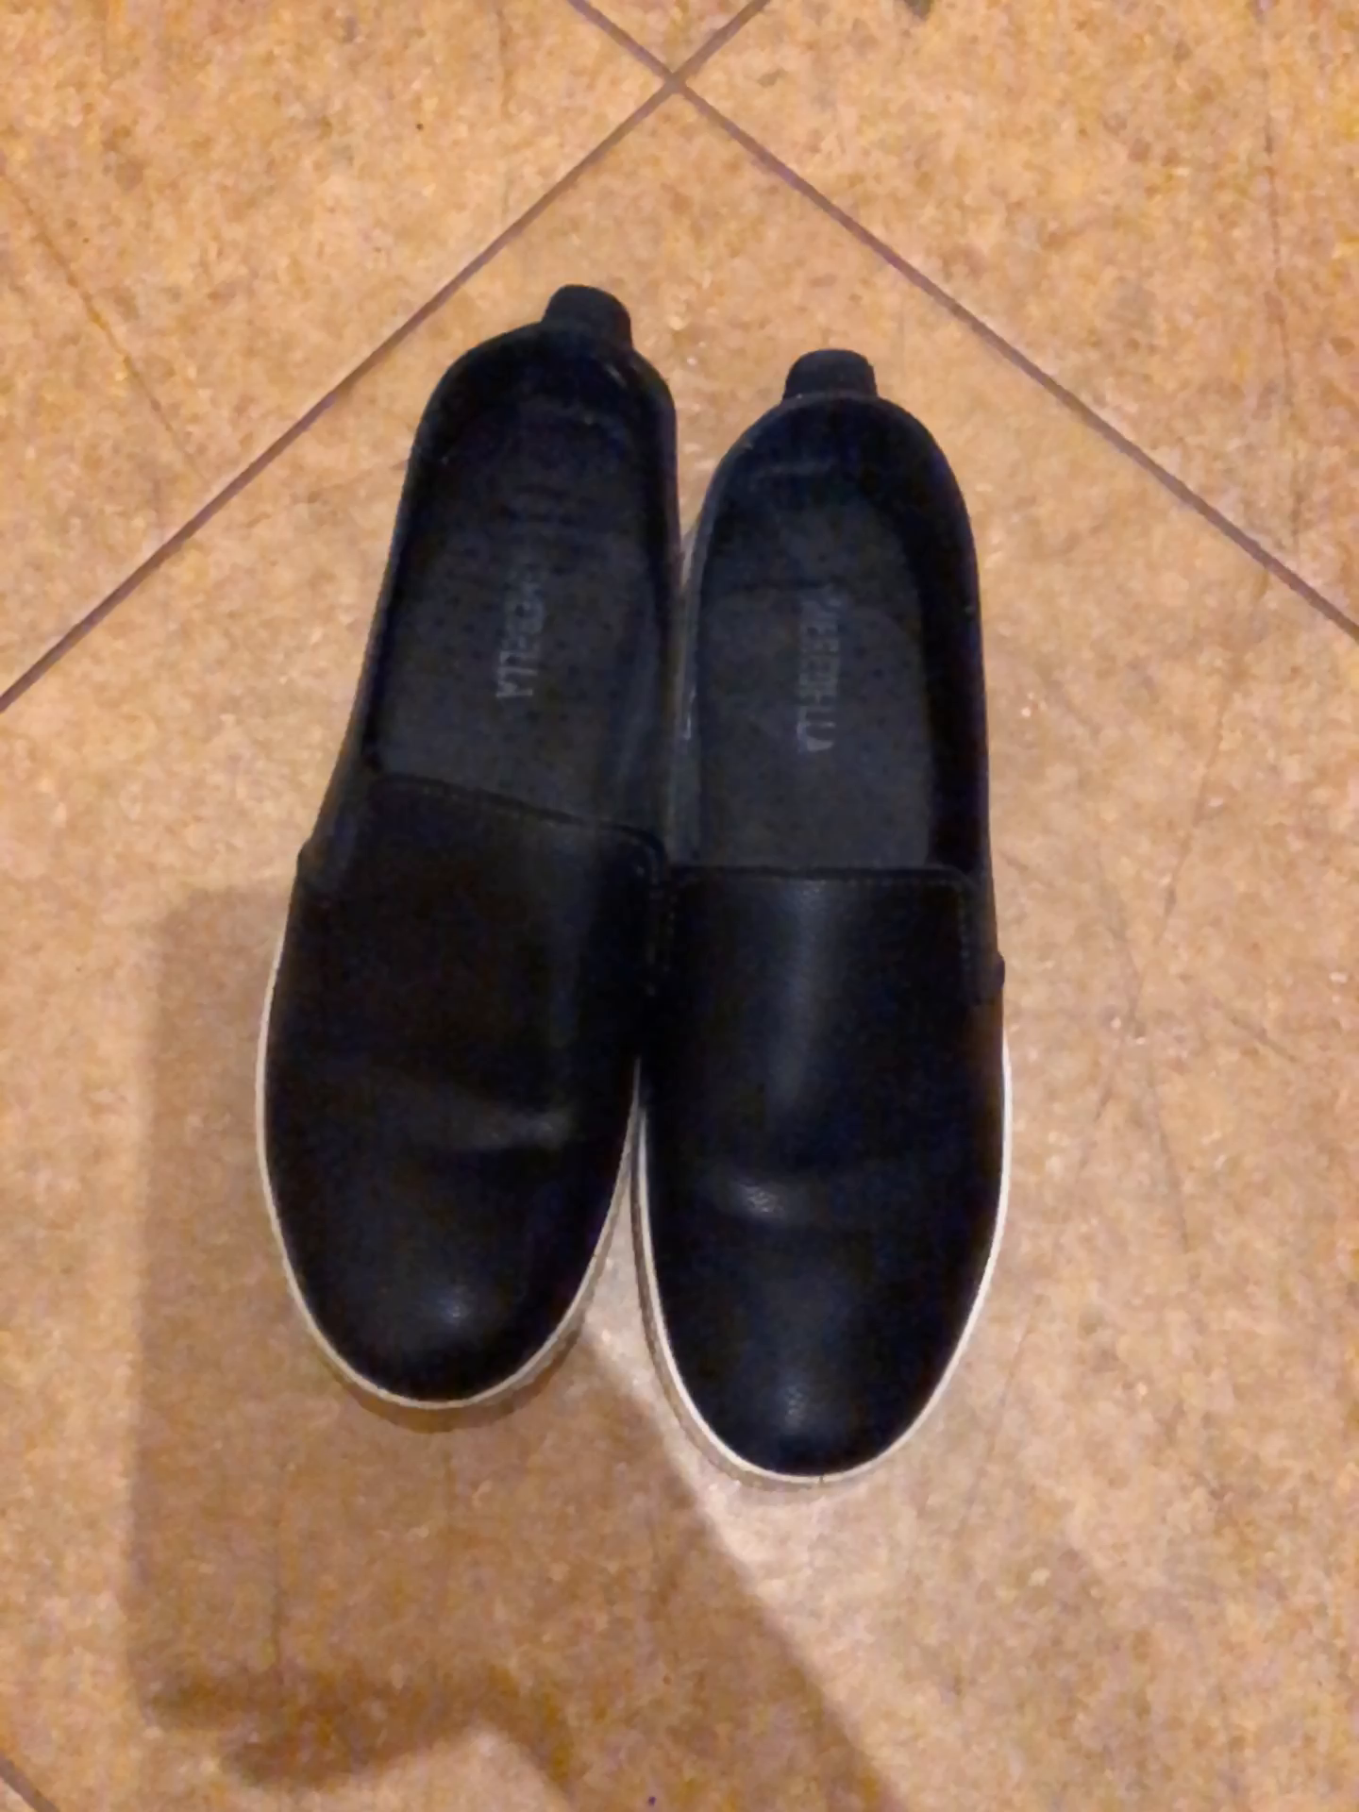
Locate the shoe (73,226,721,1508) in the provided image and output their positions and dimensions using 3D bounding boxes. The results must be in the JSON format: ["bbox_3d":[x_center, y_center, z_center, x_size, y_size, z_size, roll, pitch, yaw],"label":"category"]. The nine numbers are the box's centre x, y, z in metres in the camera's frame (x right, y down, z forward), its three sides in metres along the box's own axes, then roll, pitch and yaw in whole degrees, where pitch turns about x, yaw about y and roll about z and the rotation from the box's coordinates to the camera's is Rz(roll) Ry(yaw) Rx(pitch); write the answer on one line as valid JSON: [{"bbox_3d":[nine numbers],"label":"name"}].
[{"bbox_3d":[-0.049,-0.010,0.318,0.090,0.070,0.240,6,78,-2],"label":"shoe"}]

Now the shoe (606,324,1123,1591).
[{"bbox_3d":[0.035,0.007,0.320,0.090,0.070,0.240,3,78,-3],"label":"shoe"}]
